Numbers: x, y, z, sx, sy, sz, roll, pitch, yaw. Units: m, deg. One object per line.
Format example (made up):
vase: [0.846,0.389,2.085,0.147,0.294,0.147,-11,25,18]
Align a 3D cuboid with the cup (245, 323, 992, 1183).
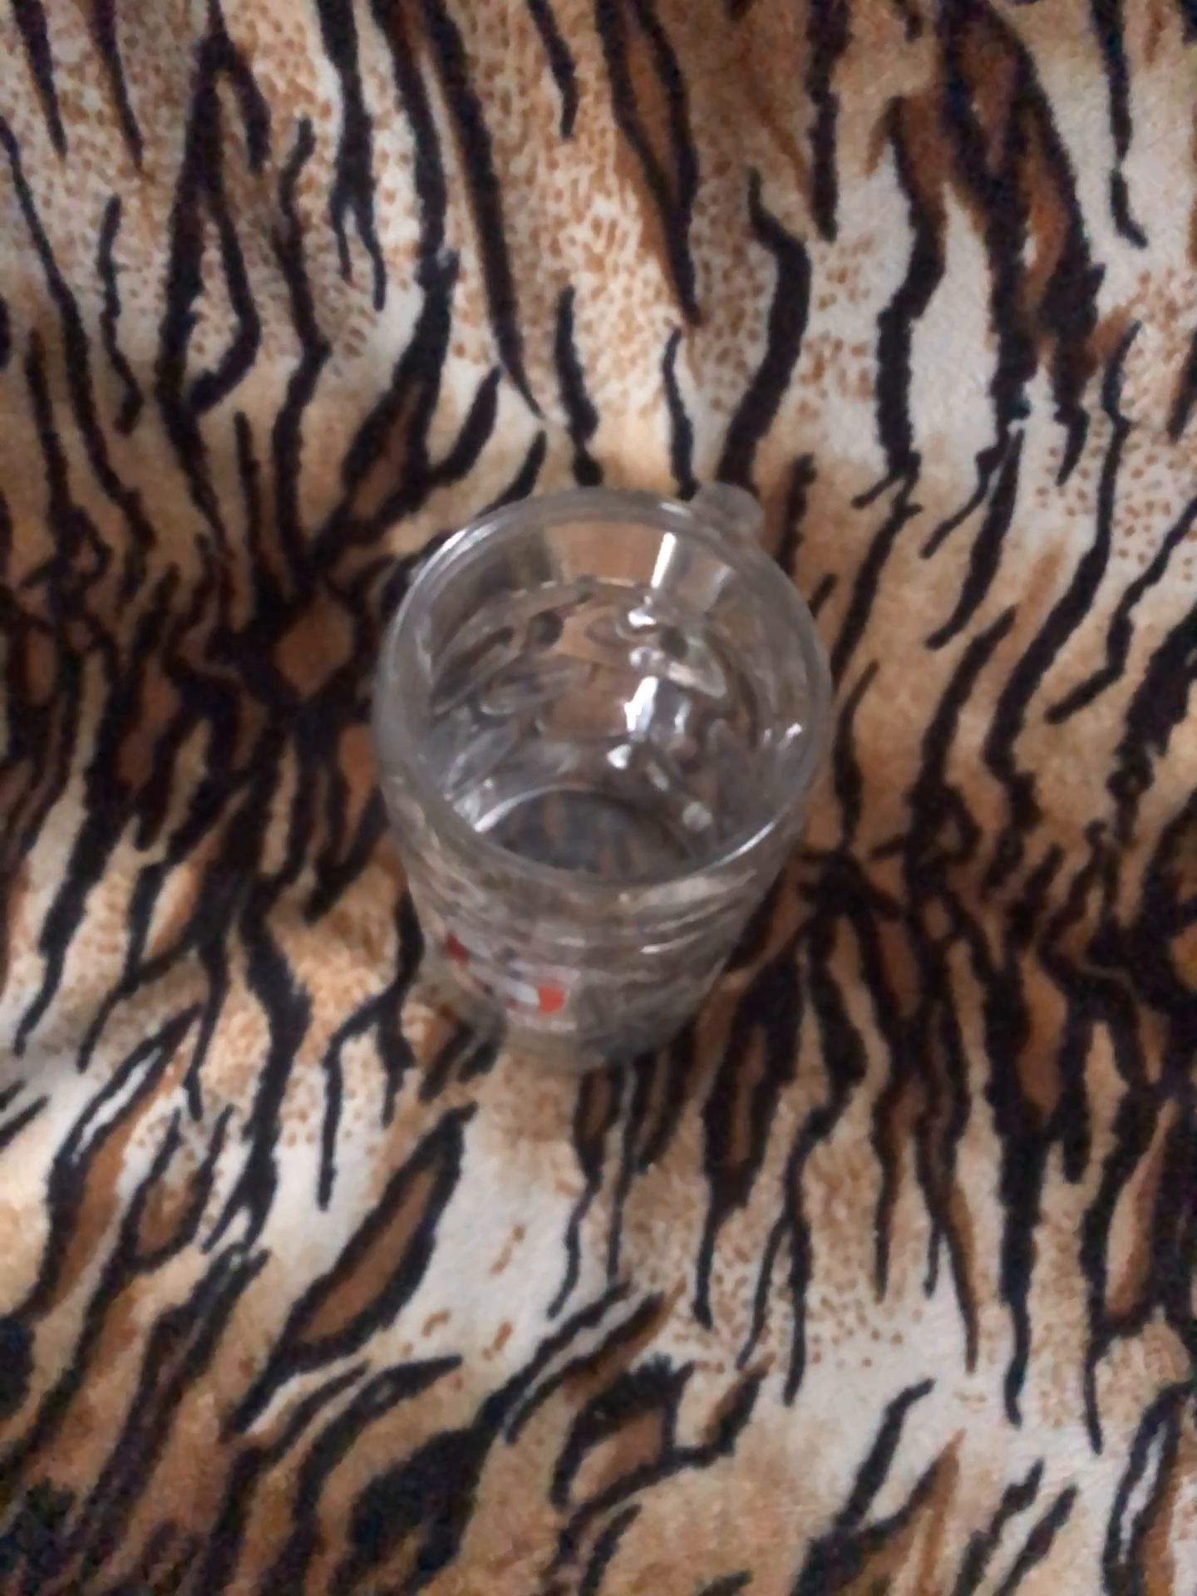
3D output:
cup: [0.007,0.001,0.402,0.120,0.195,0.150,26,66,10]
